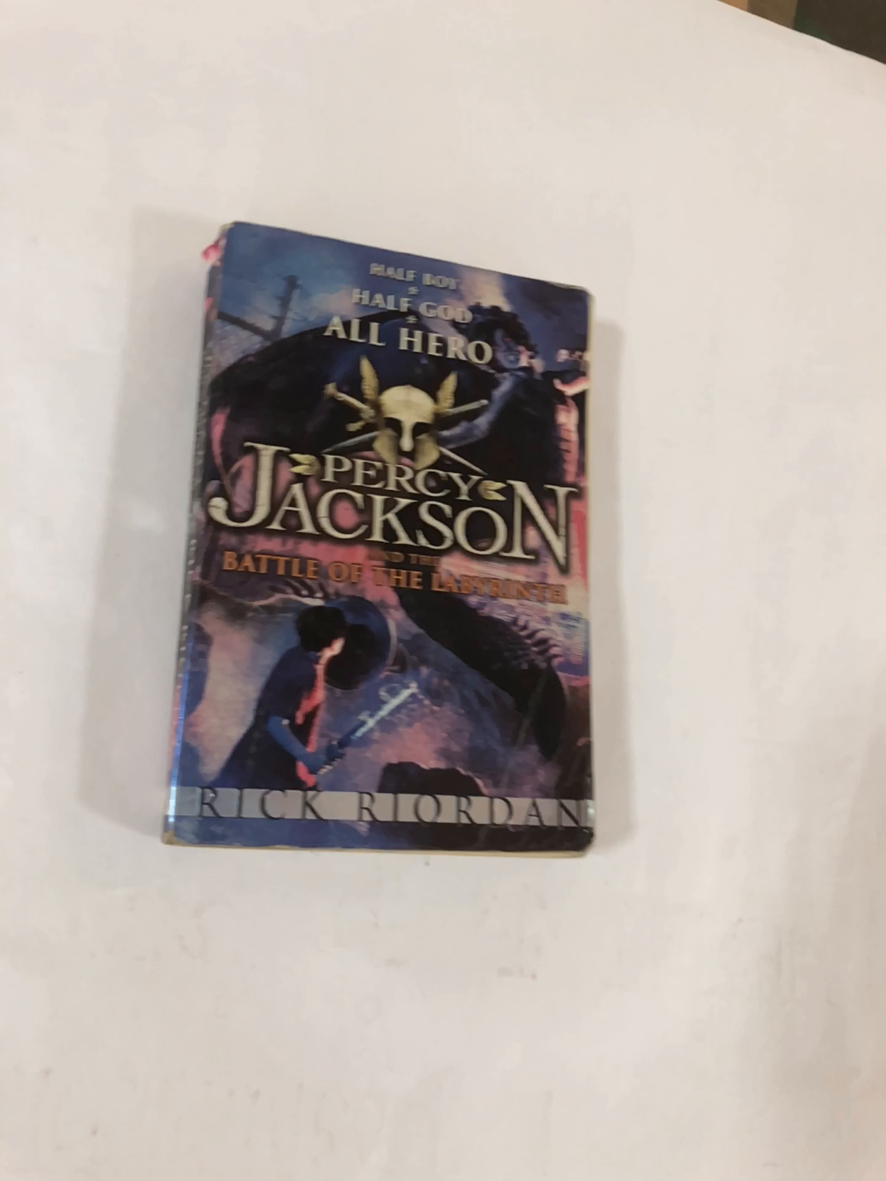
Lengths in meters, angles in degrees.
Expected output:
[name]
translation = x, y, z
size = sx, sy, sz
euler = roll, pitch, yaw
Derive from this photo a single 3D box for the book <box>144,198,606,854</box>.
[book]
translation = -0.018, -0.016, 0.313
size = 0.130, 0.040, 0.190
euler = 6, 76, -17
